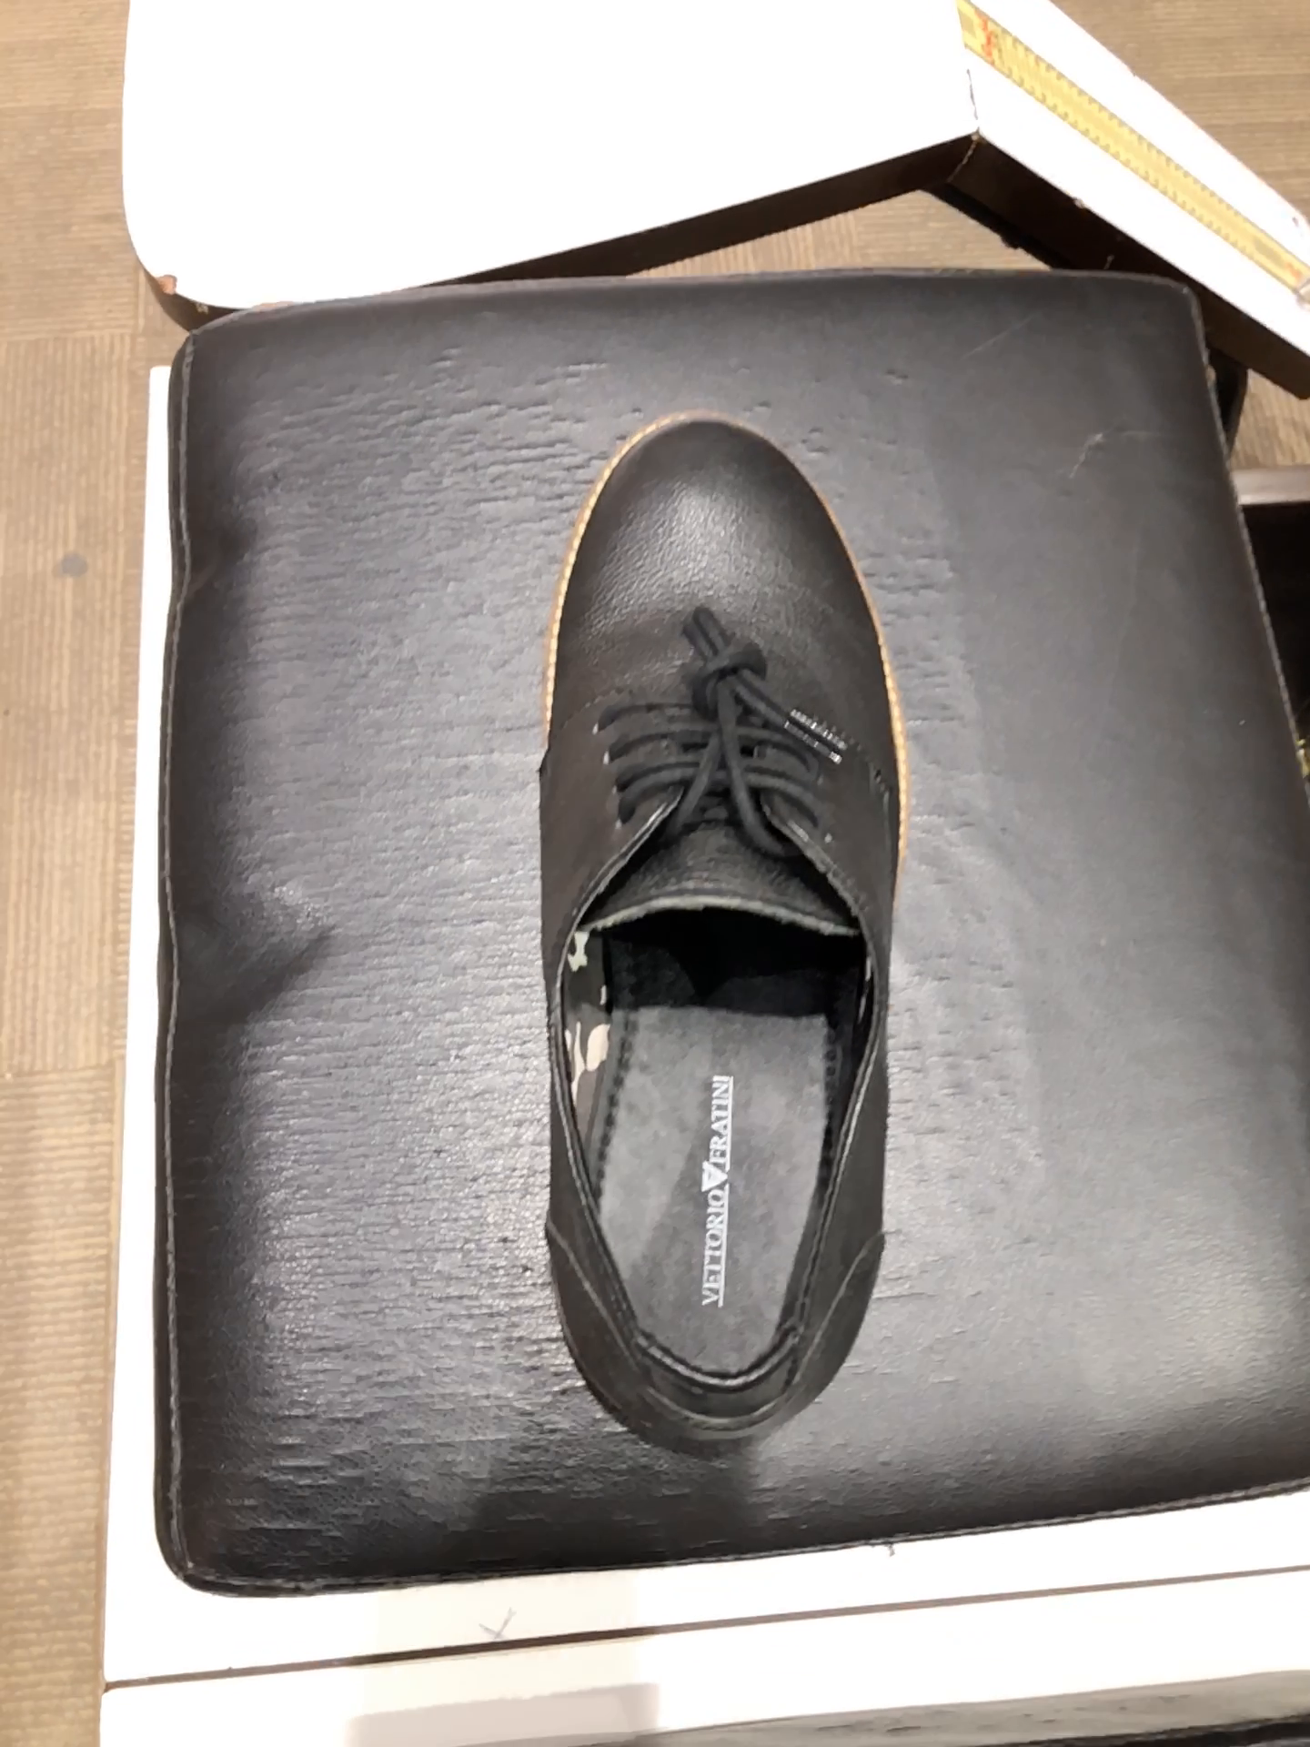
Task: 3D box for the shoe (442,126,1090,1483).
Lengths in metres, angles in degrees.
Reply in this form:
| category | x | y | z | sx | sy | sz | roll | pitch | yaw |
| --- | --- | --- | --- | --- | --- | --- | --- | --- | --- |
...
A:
| category | x | y | z | sx | sy | sz | roll | pitch | yaw |
| --- | --- | --- | --- | --- | --- | --- | --- | --- | --- |
| shoe | 0.015 | -0.020 | 0.339 | 0.110 | 0.100 | 0.291 | -1 | 72 | -1 |
